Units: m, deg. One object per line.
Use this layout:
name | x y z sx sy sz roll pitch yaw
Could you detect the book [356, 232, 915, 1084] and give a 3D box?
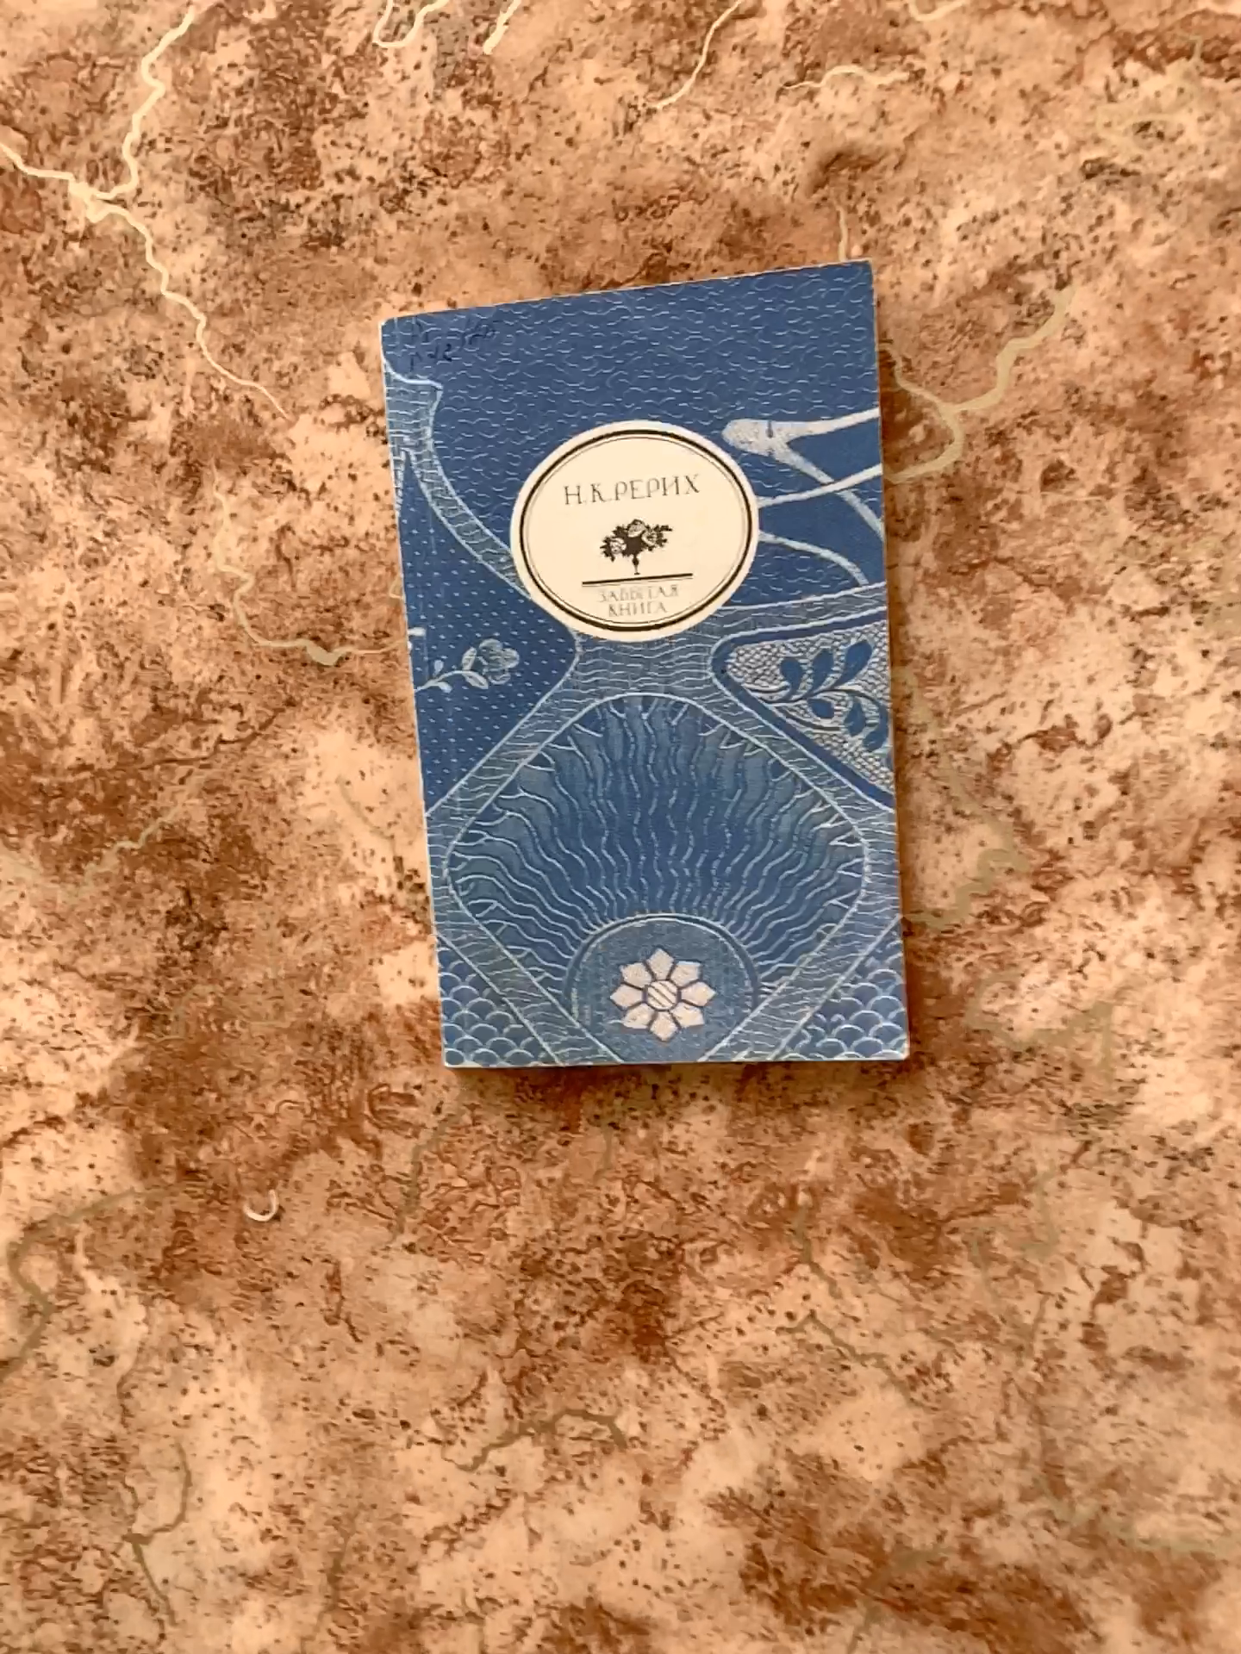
book | 0.005 -0.037 0.328 0.125 0.015 0.202 -4 96 7
